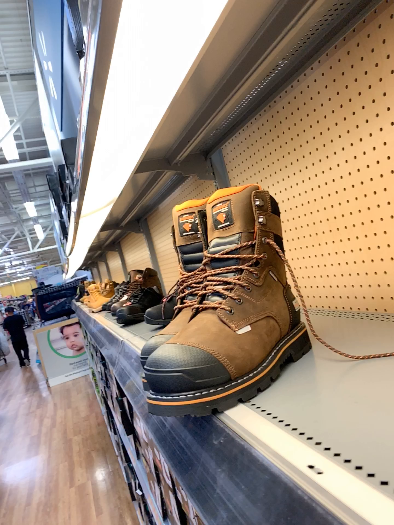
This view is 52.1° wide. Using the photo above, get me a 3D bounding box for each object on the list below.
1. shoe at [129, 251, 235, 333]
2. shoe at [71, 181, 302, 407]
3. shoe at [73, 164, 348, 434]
[{"bbox_3d":[-0.051,0.084,1.222,0.257,0.170,0.146,-15,1,-17],"label":"shoe"},{"bbox_3d":[-0.002,0.031,0.676,0.313,0.280,0.136,-16,1,-42],"label":"shoe"},{"bbox_3d":[0.039,0.020,0.549,0.318,0.260,0.134,-16,1,-44],"label":"shoe"}]
